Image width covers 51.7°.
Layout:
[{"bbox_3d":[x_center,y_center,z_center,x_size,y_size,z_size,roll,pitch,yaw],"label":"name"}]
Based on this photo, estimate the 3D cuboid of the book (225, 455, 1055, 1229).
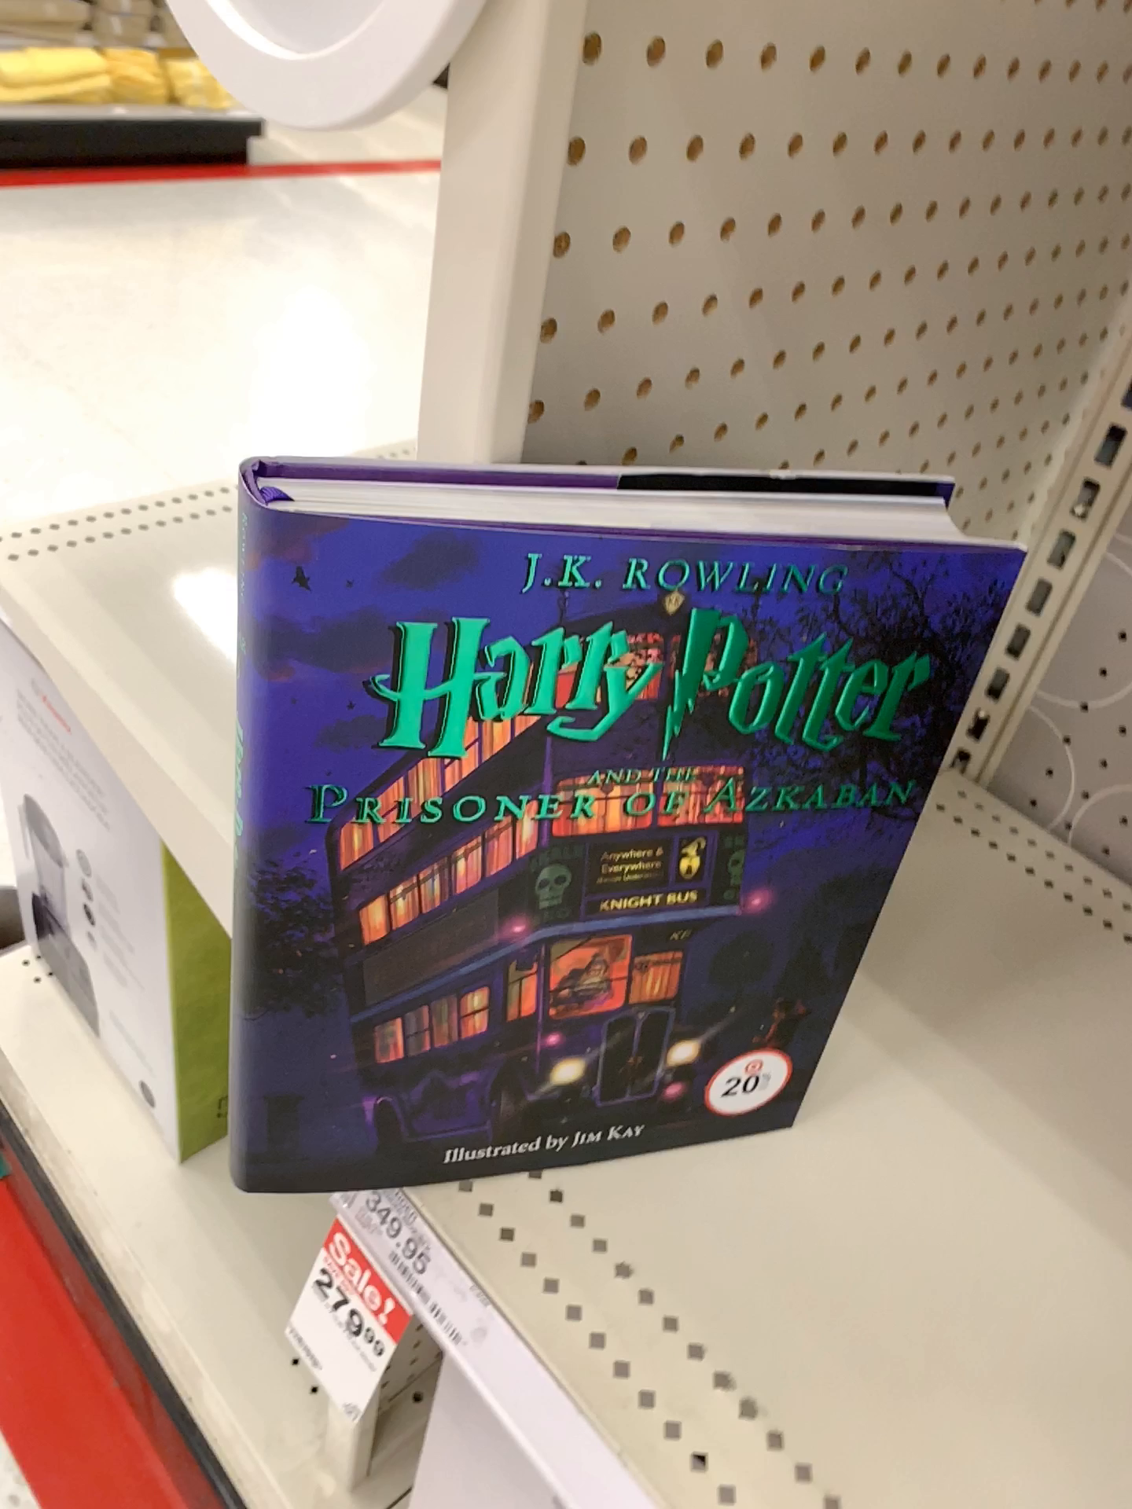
[{"bbox_3d":[0.007,0.043,0.415,0.240,0.280,0.050,-2,35,-18],"label":"book"}]
